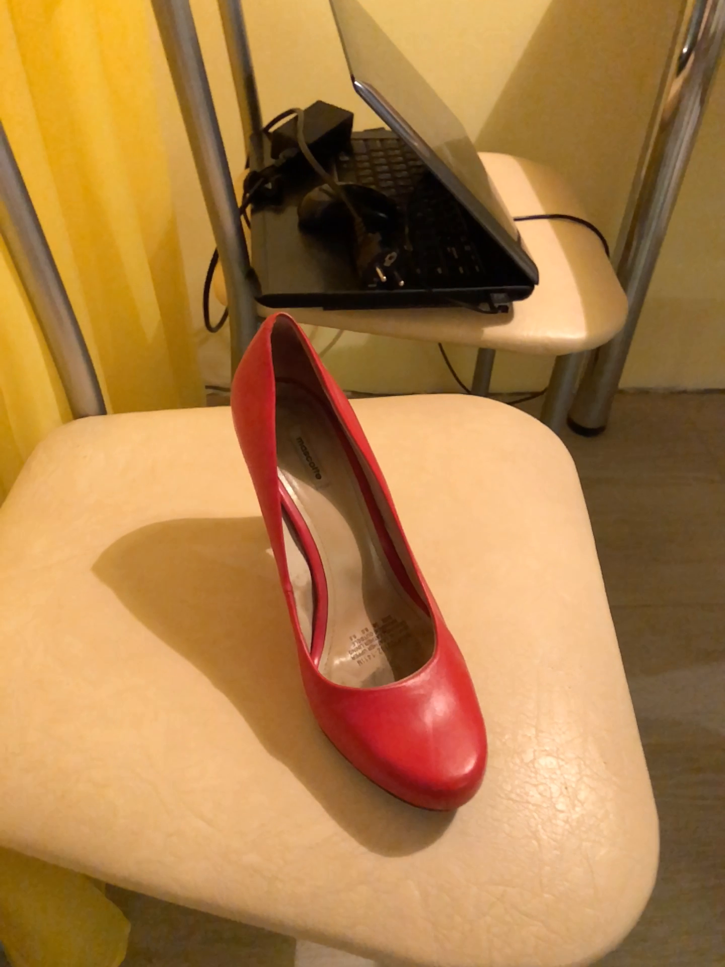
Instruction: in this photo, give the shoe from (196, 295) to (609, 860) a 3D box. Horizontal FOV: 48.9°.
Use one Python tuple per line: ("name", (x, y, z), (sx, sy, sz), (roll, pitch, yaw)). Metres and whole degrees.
("shoe", (-0.002, 0.030, 0.384), (0.080, 0.129, 0.230), (-16, 47, -20))
